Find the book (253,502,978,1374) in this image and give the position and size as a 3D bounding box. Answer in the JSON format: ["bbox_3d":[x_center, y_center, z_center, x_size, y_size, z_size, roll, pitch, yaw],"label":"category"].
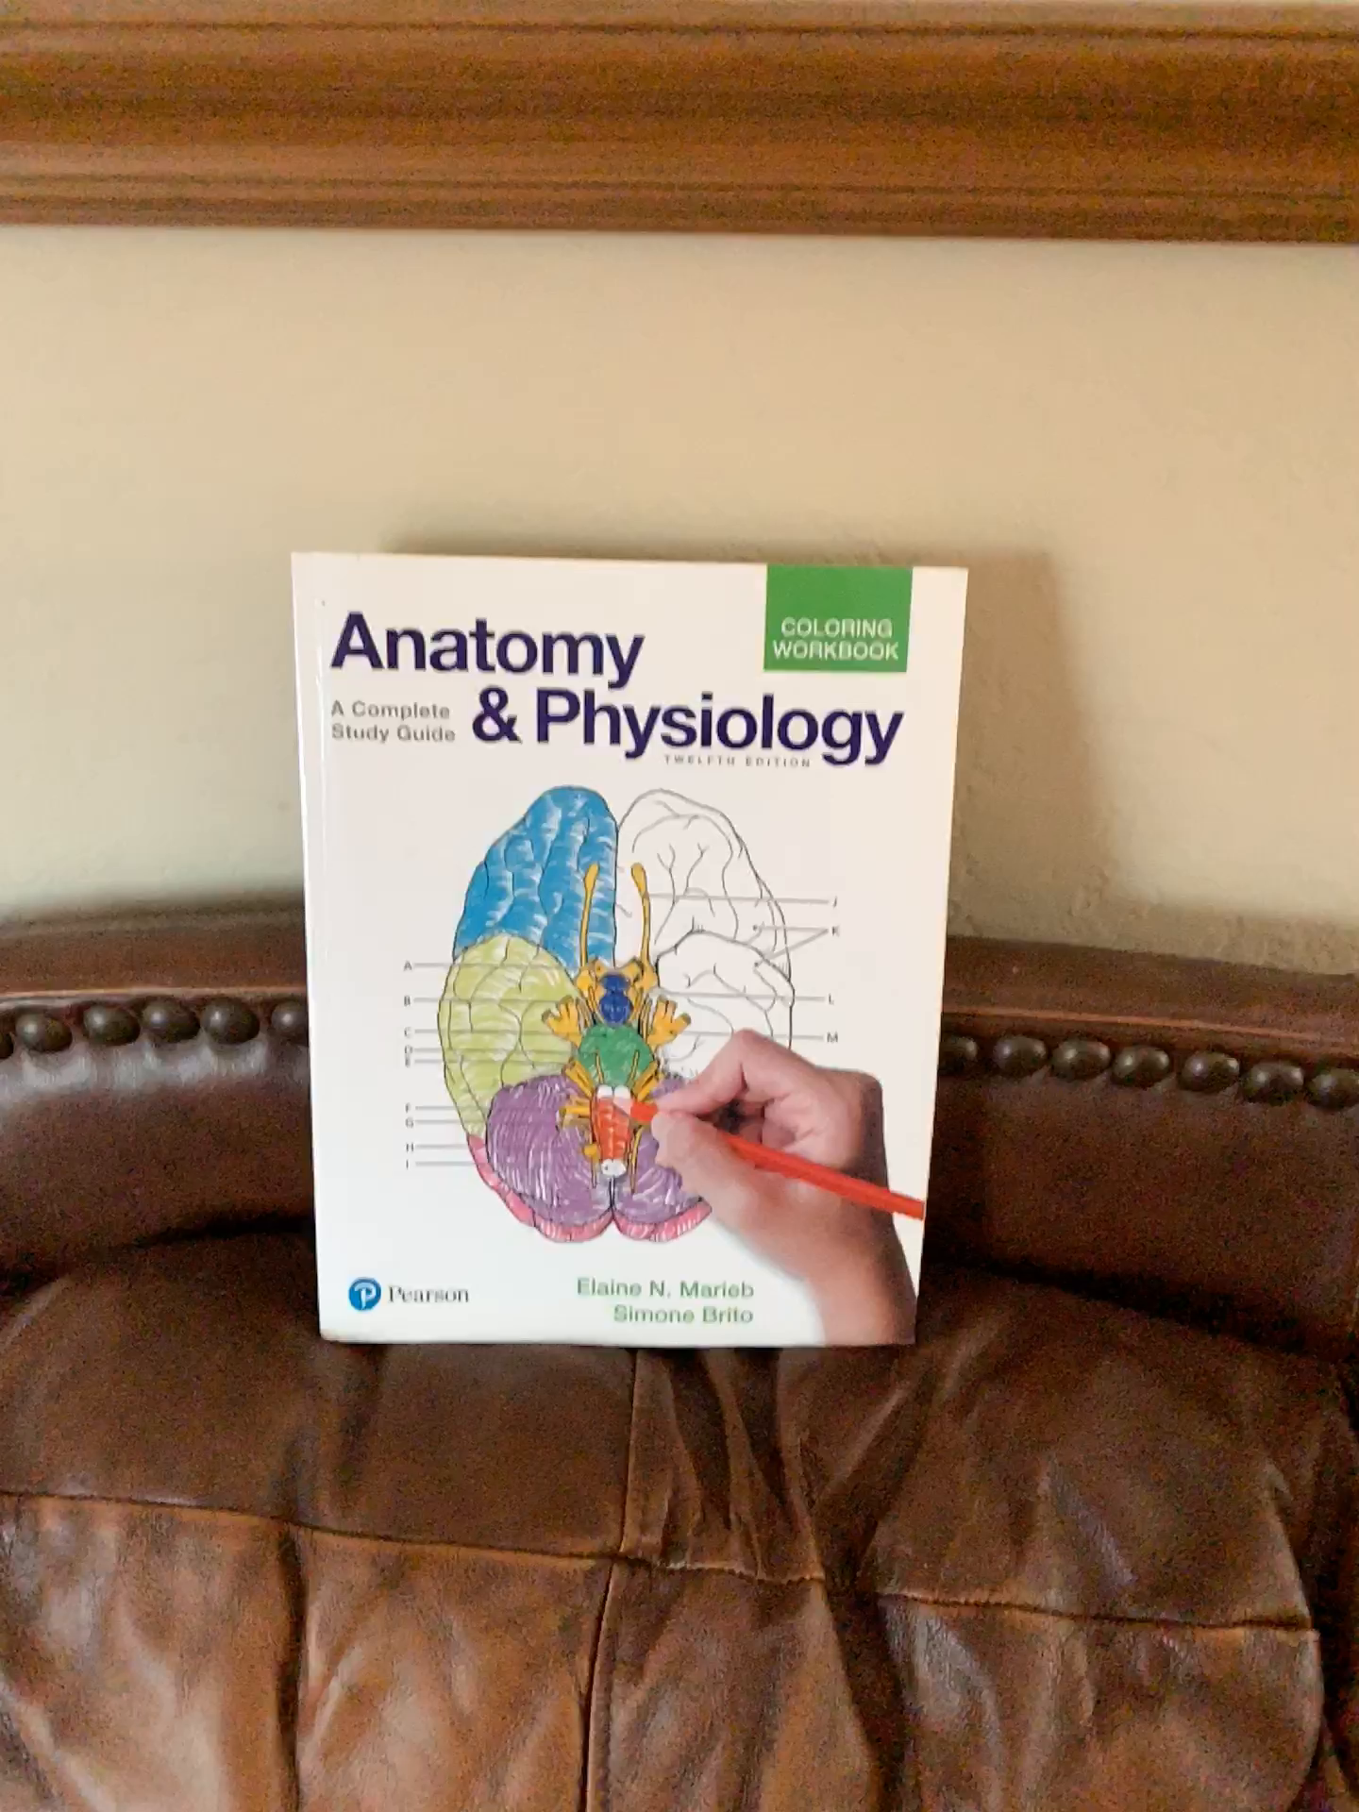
[{"bbox_3d":[-0.018,0.014,0.483,0.220,0.289,0.060,0,12,1],"label":"book"}]
